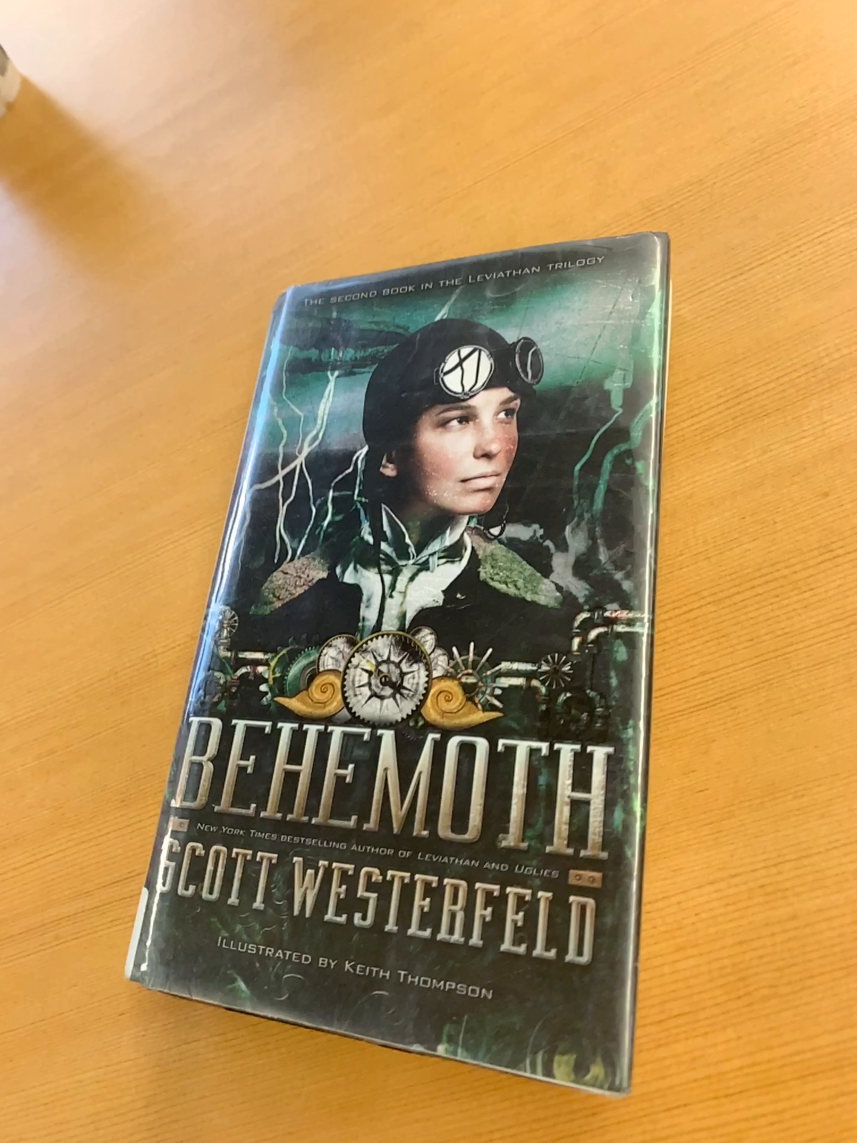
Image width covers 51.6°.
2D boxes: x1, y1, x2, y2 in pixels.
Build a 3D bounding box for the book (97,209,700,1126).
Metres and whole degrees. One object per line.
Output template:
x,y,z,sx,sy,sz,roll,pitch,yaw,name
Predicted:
0.000,0.014,0.279,0.151,0.050,0.241,-1,70,24,book
